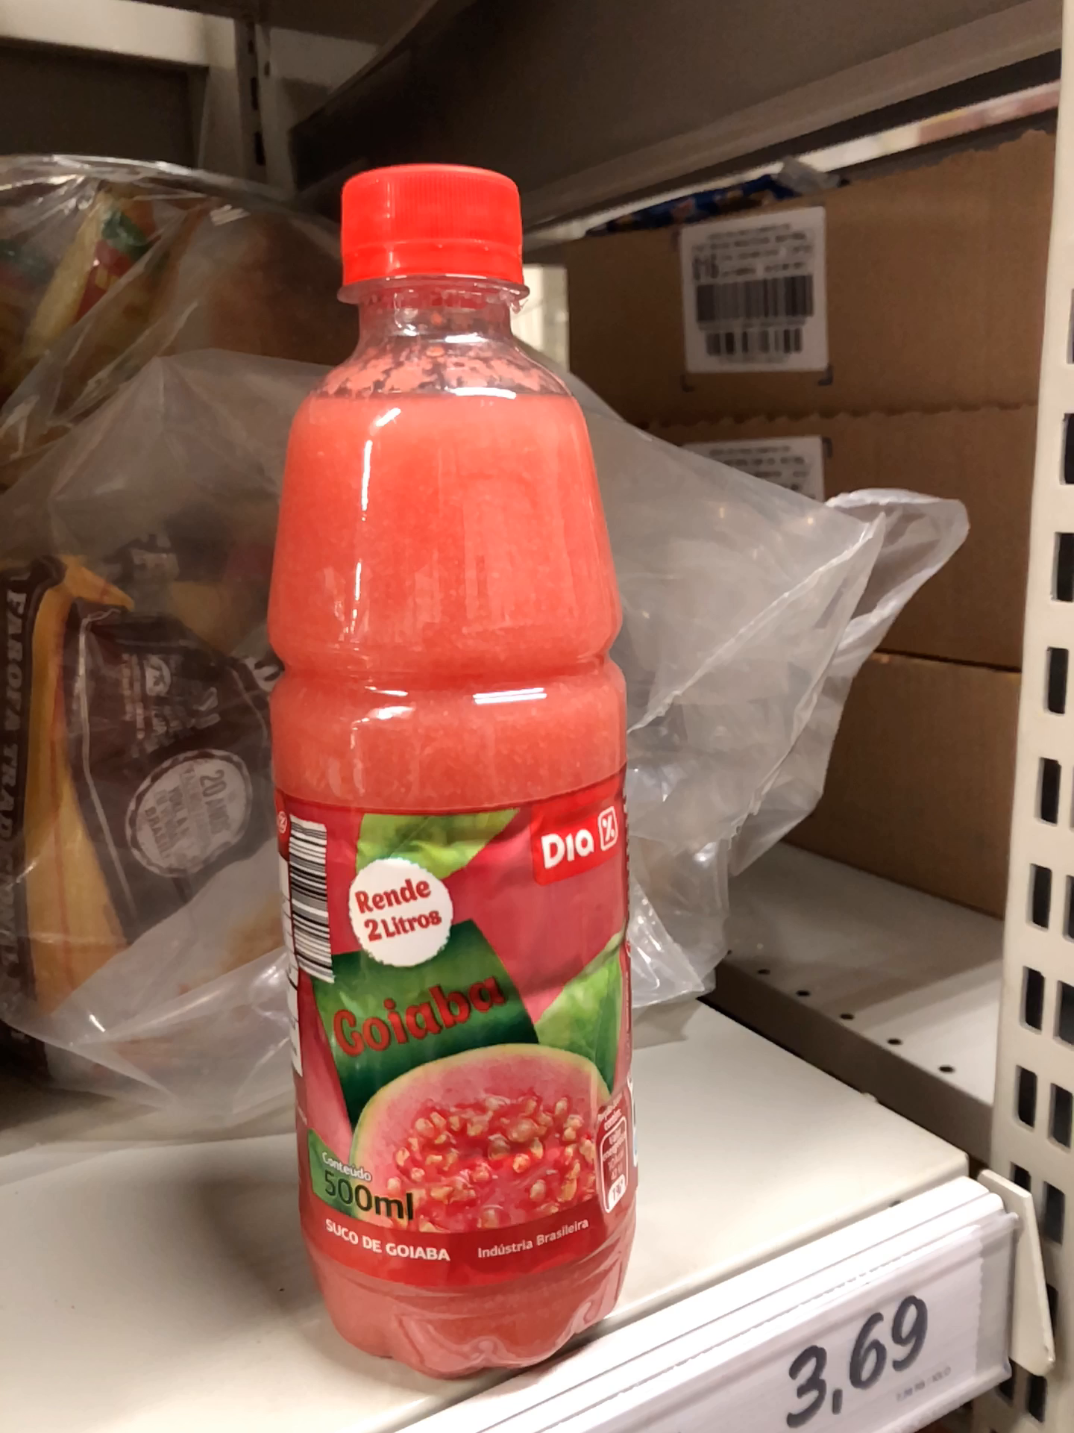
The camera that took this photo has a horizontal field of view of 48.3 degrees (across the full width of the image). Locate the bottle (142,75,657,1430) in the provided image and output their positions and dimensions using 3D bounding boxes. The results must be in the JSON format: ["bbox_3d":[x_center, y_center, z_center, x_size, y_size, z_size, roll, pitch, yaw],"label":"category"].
[{"bbox_3d":[-0.019,0.008,0.231,0.070,0.219,0.070,0,11,0],"label":"bottle"}]
